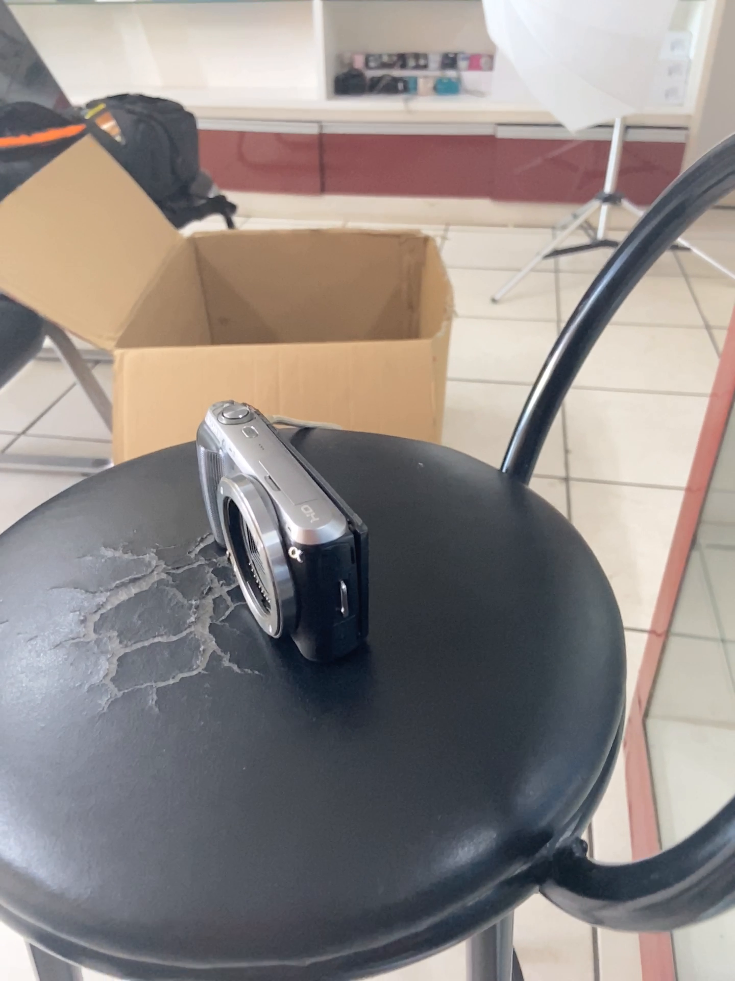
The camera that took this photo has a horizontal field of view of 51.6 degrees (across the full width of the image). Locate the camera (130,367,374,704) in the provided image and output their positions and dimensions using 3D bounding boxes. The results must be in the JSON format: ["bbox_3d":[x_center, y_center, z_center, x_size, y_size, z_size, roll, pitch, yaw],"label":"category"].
[{"bbox_3d":[-0.046,0.009,0.280,0.040,0.060,0.121,-19,38,-23],"label":"camera"}]
